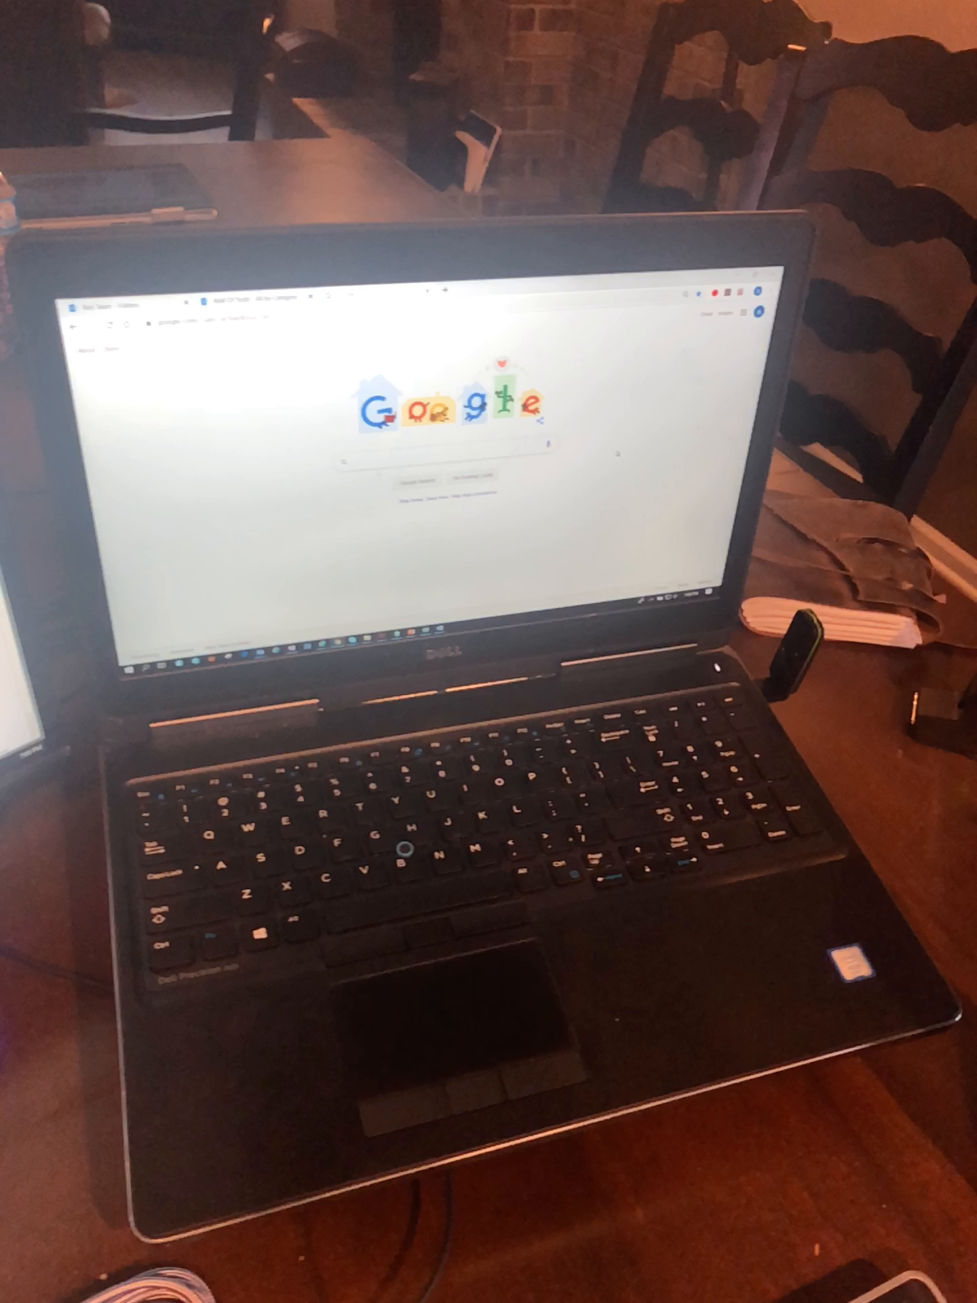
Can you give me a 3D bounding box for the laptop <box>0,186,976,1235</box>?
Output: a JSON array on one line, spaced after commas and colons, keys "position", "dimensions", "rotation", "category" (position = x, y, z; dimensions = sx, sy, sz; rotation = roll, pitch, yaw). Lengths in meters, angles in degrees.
[{"position": [0.012, -0.011, 0.469], "dimensions": [0.367, 0.258, 0.287], "rotation": [-8, 41, -16], "category": "laptop"}]
